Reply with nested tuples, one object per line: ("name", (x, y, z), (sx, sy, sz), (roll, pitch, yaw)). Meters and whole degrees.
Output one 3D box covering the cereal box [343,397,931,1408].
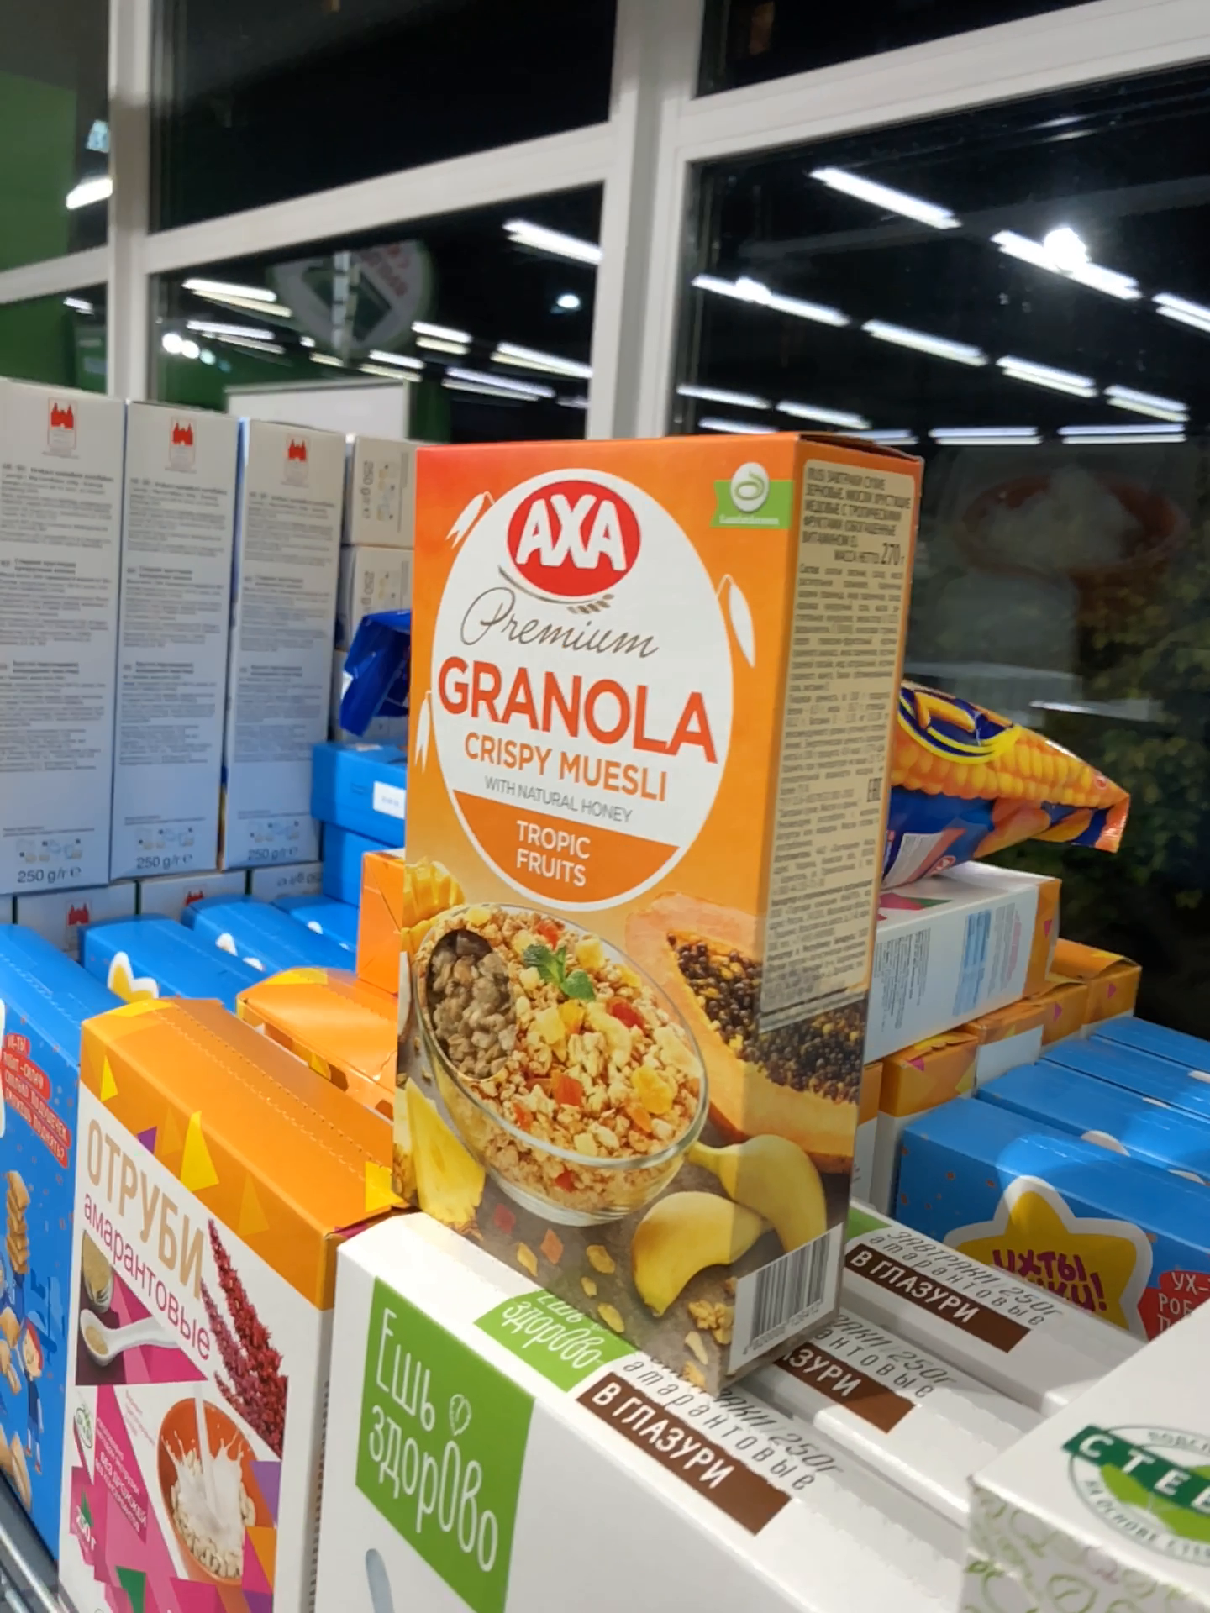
("cereal box", (-0.003, 0.012, 0.347), (0.140, 0.219, 0.050), (14, 14, 43))
